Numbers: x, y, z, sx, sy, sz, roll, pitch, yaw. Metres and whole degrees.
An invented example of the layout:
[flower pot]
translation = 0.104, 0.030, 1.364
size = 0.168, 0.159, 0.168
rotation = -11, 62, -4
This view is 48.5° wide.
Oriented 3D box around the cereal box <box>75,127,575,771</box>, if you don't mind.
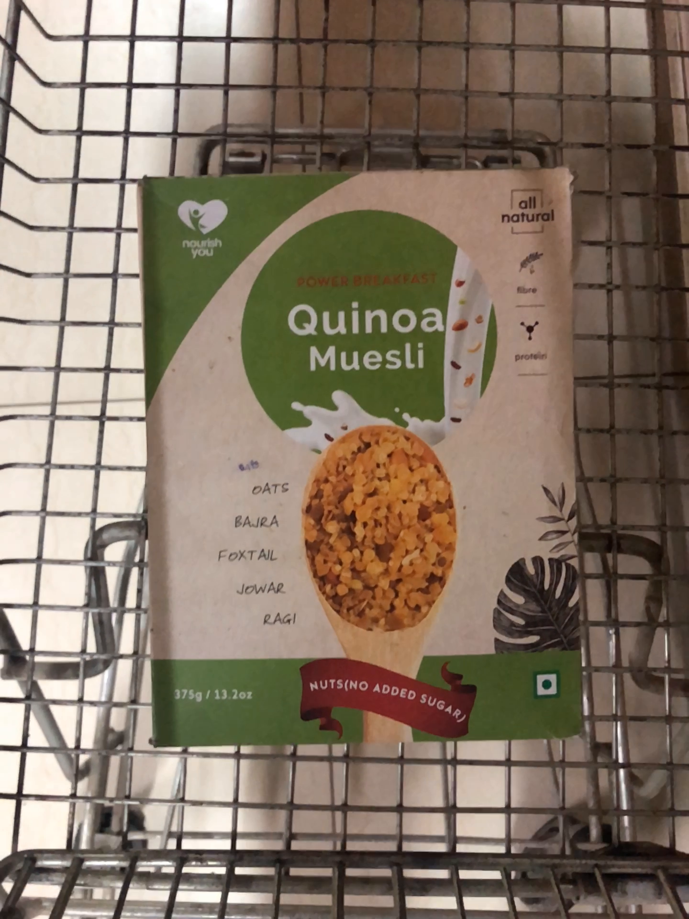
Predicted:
[cereal box]
translation = -0.006, -0.005, 0.286
size = 0.160, 0.060, 0.210
rotation = -2, 91, -2
